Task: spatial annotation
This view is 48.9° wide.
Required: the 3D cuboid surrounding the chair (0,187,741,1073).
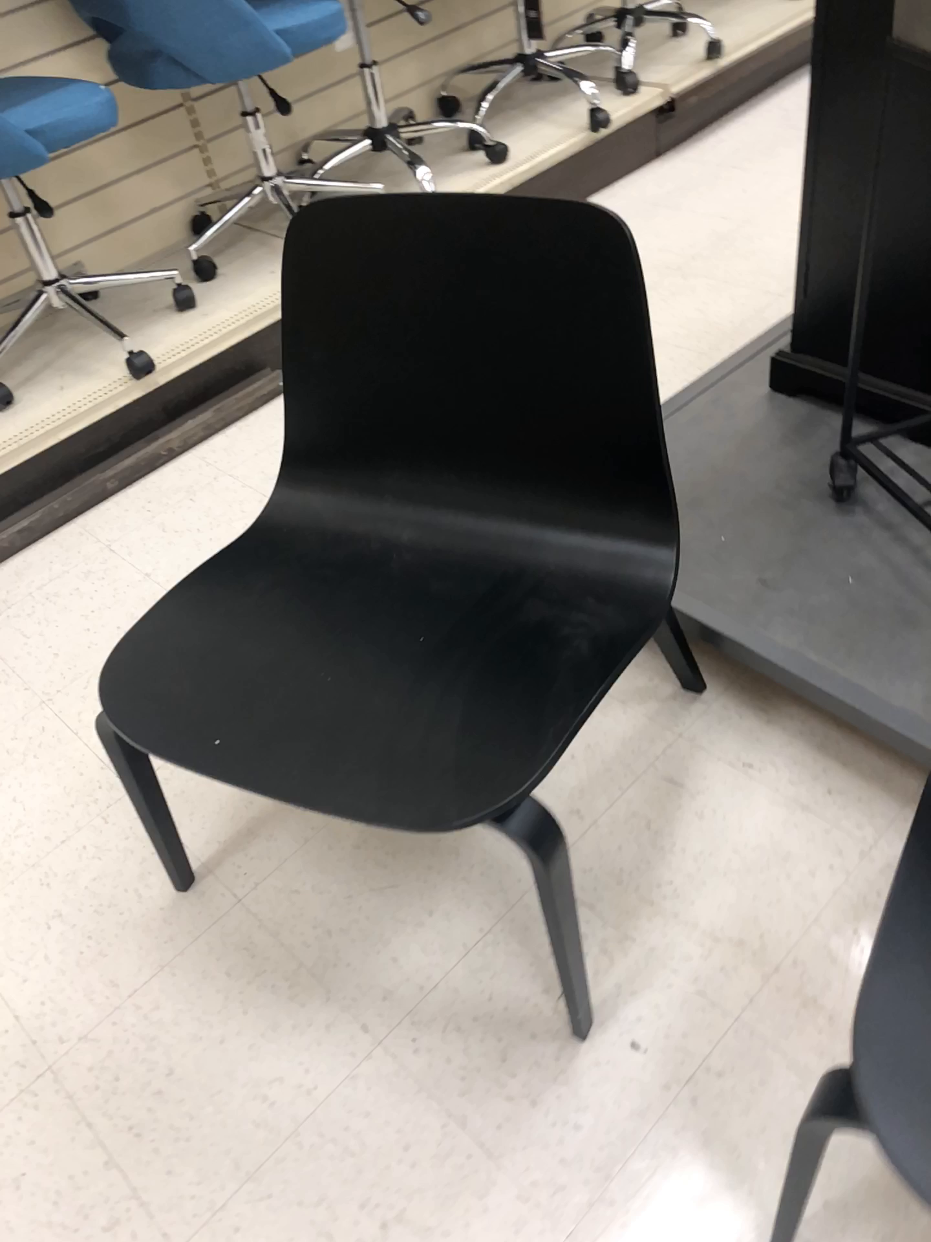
[{"bbox_3d":[-0.080,-0.027,1.229,0.641,0.717,0.631,12,48,25],"label":"chair"}]
